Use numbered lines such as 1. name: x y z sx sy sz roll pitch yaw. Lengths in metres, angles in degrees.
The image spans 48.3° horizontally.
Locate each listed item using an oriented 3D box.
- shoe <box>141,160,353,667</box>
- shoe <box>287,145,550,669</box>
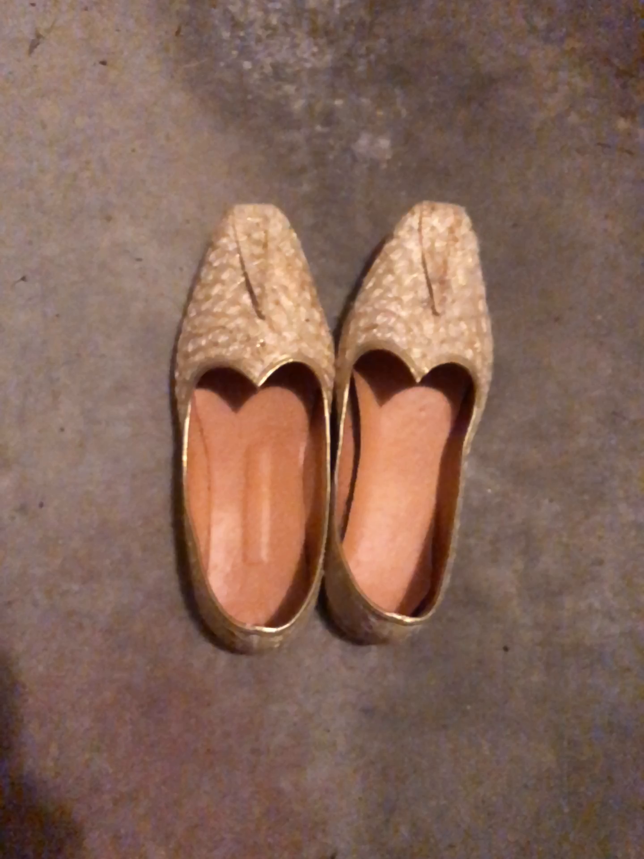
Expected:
1. shoe: -0.041 -0.012 0.417 0.104 0.073 0.275 -1 78 -3
2. shoe: 0.056 -0.015 0.420 0.104 0.073 0.275 10 77 0
